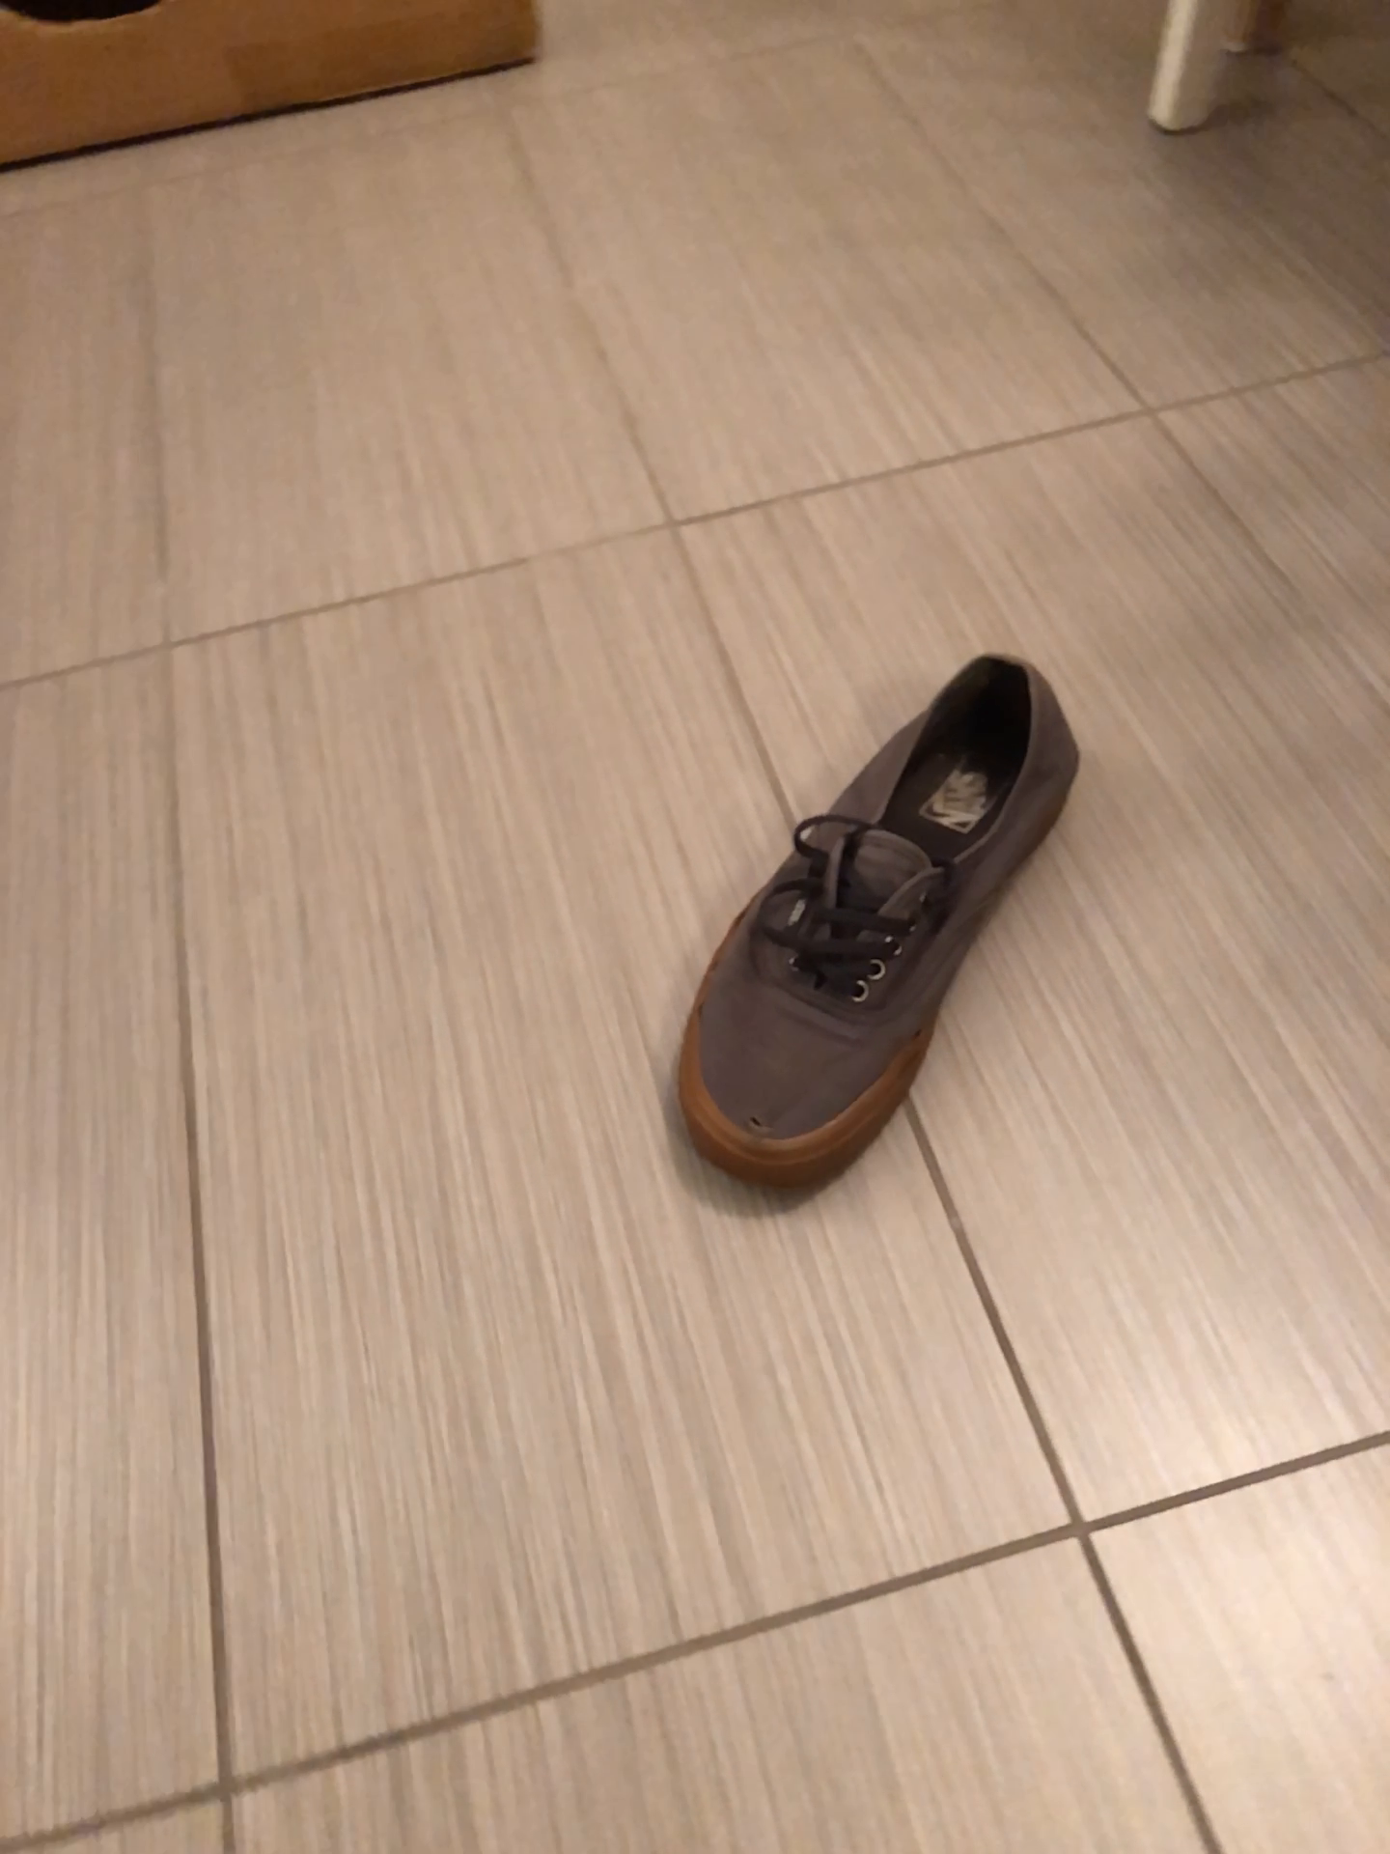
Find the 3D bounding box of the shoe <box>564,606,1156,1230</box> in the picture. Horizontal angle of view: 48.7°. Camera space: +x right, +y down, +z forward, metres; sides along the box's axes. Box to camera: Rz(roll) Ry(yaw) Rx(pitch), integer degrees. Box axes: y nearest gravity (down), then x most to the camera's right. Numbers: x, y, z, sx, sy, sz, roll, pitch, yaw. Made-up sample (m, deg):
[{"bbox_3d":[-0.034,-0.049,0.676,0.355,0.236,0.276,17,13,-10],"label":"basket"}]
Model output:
[{"bbox_3d":[0.081,-0.018,0.673,0.110,0.060,0.291,27,59,26],"label":"shoe"}]
